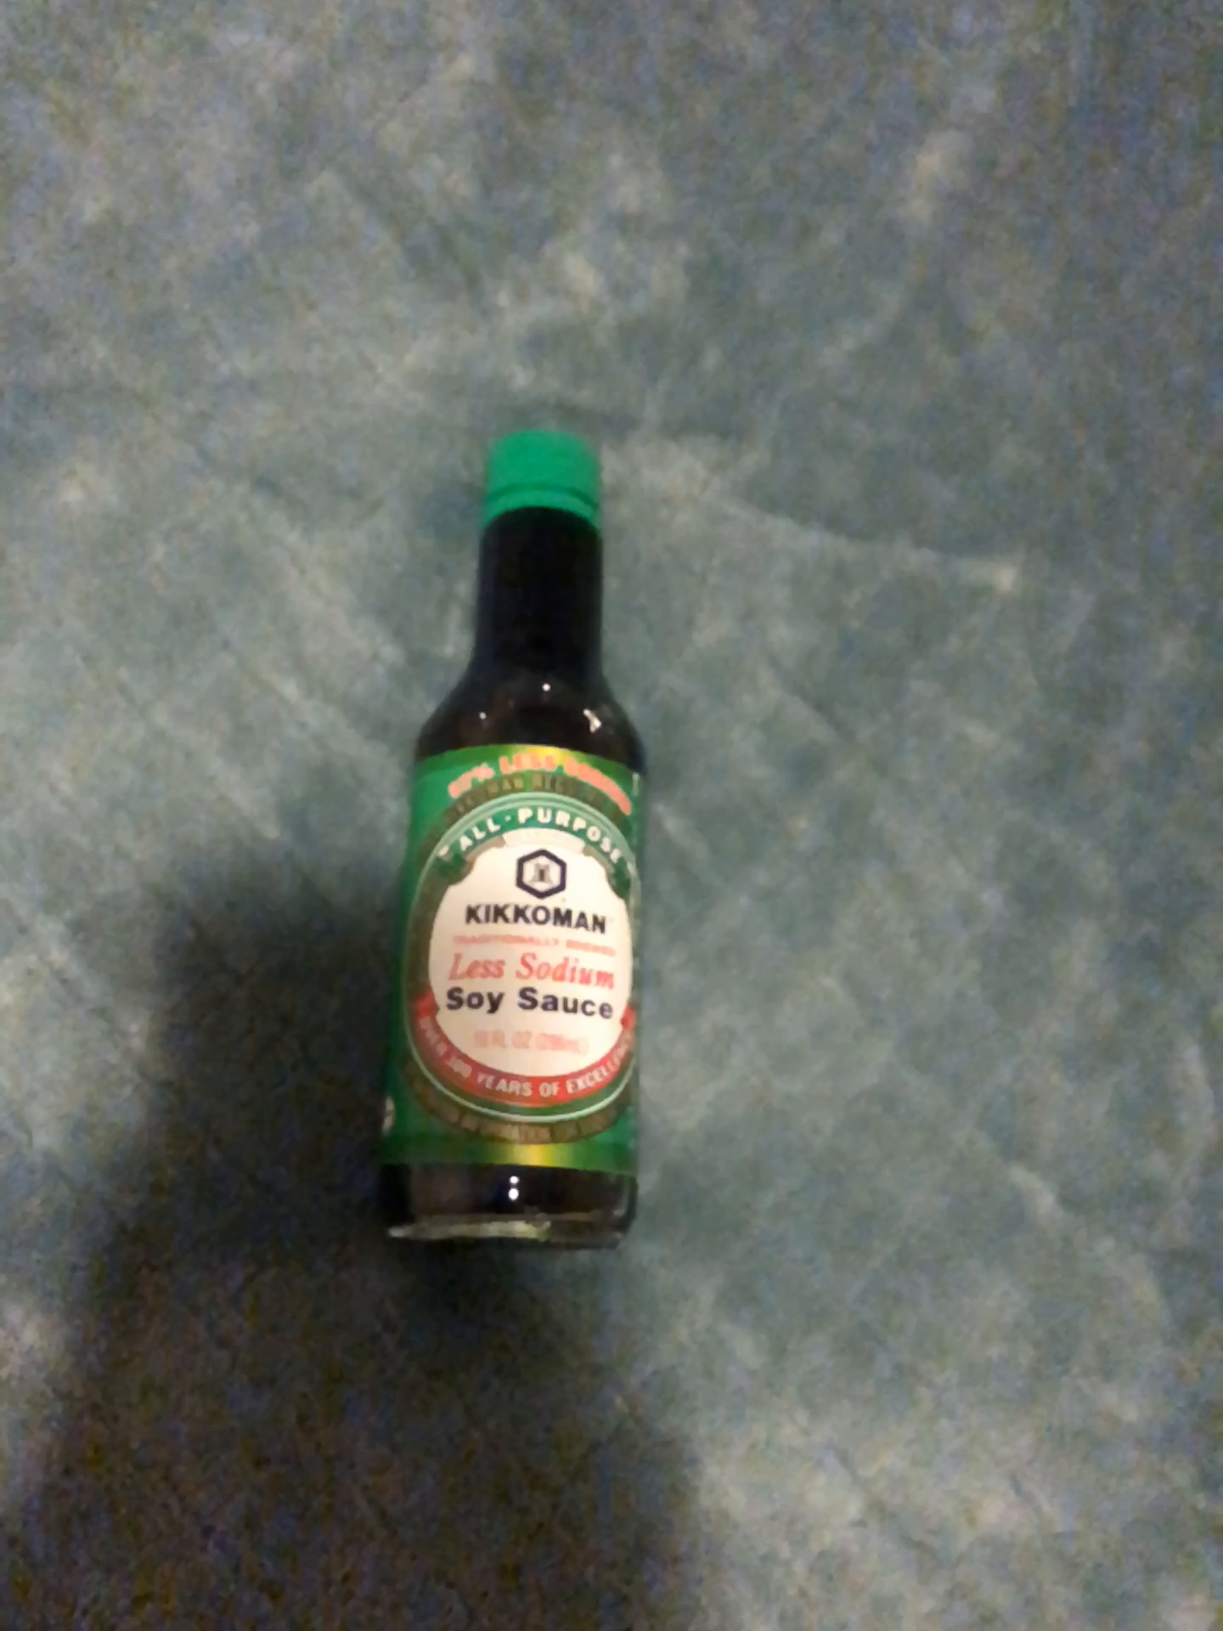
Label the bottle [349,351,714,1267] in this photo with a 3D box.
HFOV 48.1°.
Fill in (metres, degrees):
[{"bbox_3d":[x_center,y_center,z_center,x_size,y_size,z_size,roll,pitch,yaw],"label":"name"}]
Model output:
[{"bbox_3d":[-0.019,-0.001,0.334,0.070,0.060,0.210,5,71,-14],"label":"bottle"}]
